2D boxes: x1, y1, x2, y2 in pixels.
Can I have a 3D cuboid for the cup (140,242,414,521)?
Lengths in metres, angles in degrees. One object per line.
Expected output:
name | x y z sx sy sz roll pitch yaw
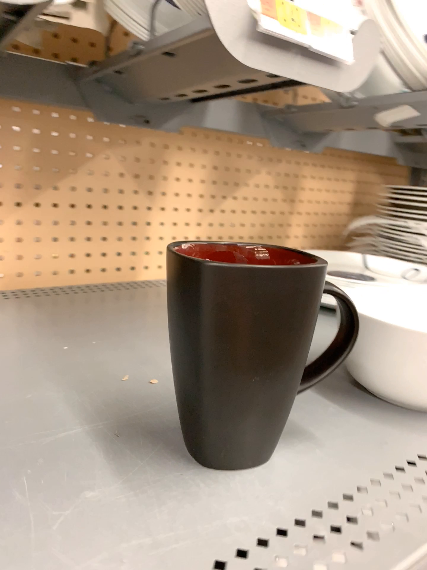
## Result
cup | 0.031 0.045 0.278 0.130 0.130 0.090 -1 14 -23
